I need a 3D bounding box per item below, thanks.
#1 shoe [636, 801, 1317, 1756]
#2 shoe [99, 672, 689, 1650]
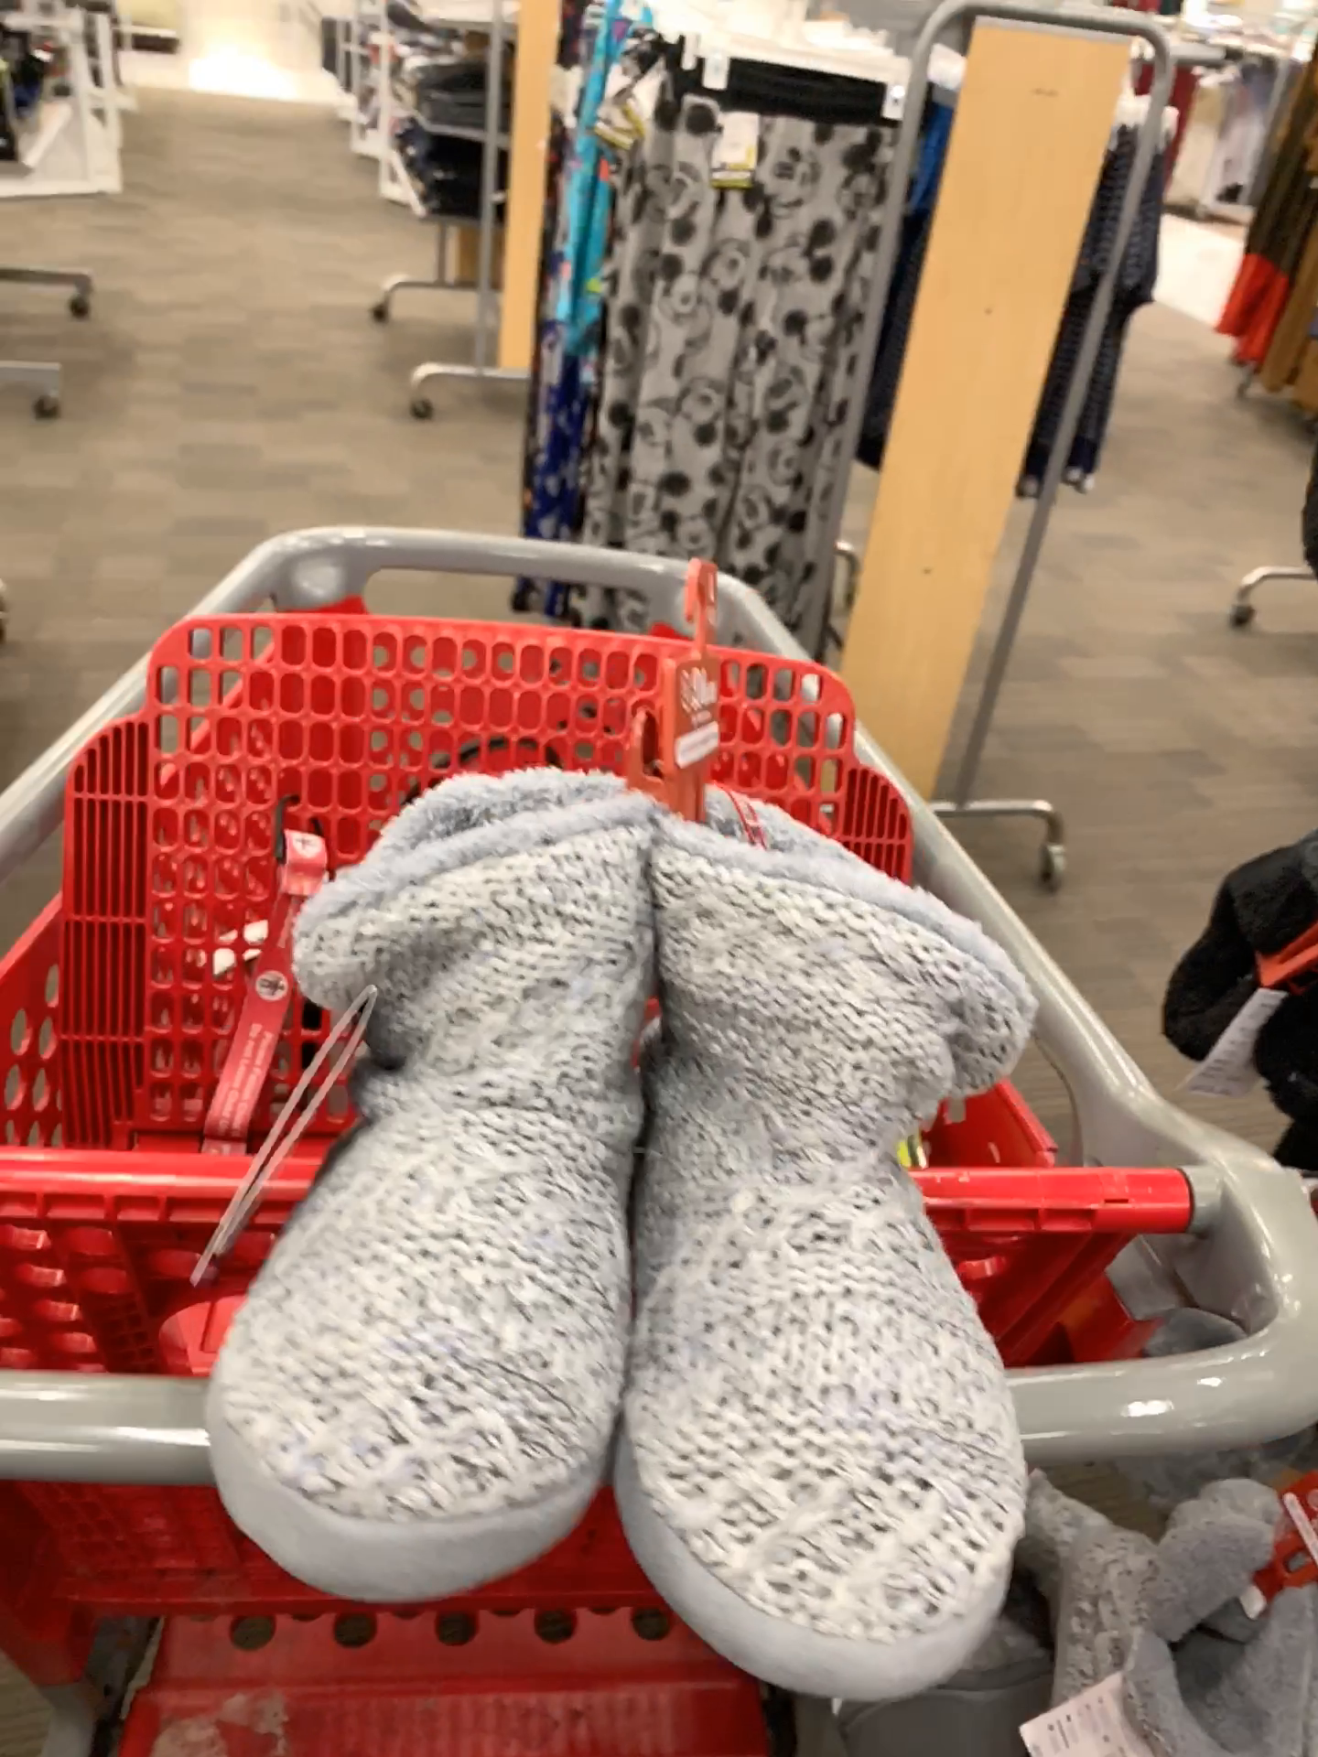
[{"bbox_3d":[0.059,0.090,0.369,0.110,0.119,0.231,7,29,-2],"label":"shoe"},{"bbox_3d":[-0.055,0.056,0.399,0.110,0.139,0.251,7,29,-2],"label":"shoe"}]
